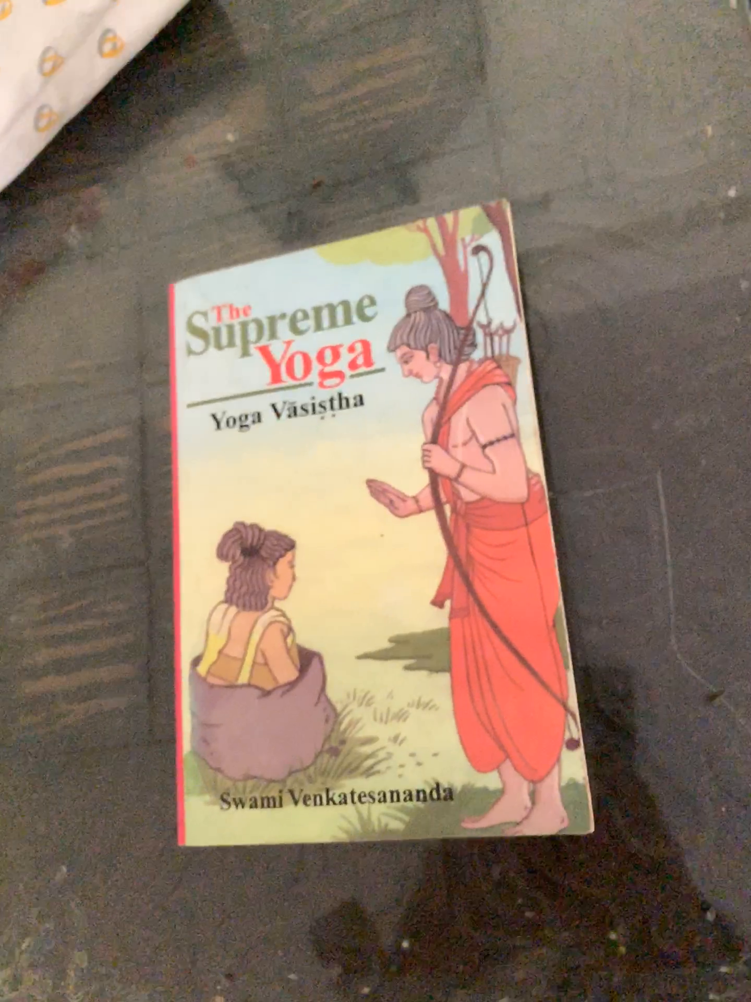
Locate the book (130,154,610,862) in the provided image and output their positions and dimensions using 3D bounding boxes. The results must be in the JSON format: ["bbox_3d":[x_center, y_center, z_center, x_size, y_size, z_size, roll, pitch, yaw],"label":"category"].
[{"bbox_3d":[-0.012,0.001,0.263,0.140,0.030,0.210,-10,74,15],"label":"book"}]
